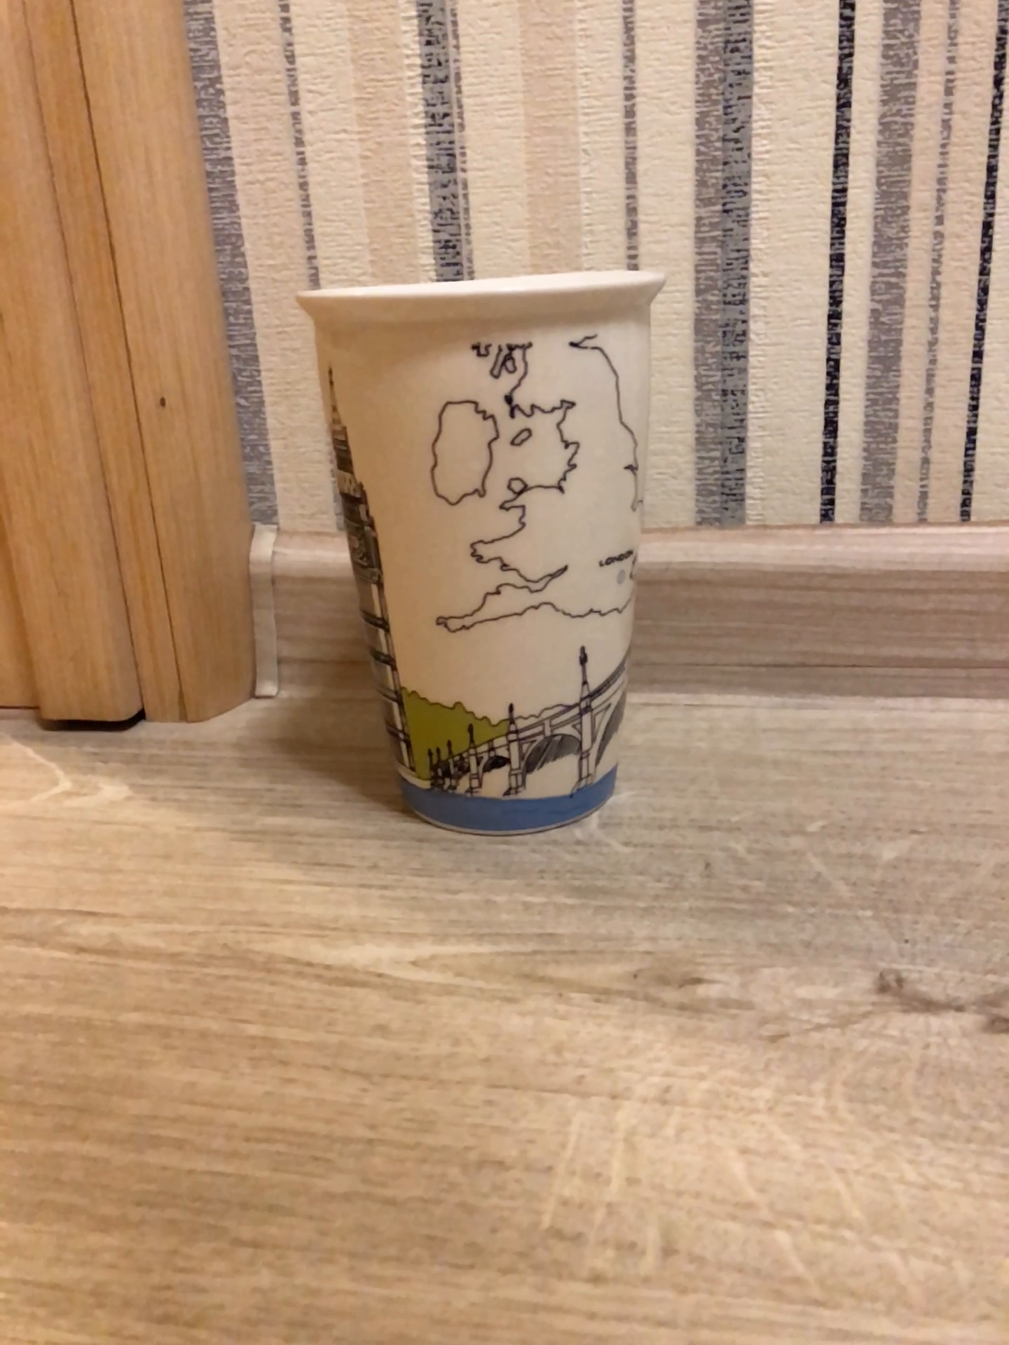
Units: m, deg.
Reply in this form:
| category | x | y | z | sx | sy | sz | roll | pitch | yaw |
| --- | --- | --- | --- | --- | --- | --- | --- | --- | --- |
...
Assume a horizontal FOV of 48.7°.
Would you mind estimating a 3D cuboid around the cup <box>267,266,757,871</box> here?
| category | x | y | z | sx | sy | sz | roll | pitch | yaw |
| --- | --- | --- | --- | --- | --- | --- | --- | --- | --- |
| cup | 0.000 | -0.037 | 0.305 | 0.097 | 0.133 | 0.096 | -3 | 19 | 1 |
